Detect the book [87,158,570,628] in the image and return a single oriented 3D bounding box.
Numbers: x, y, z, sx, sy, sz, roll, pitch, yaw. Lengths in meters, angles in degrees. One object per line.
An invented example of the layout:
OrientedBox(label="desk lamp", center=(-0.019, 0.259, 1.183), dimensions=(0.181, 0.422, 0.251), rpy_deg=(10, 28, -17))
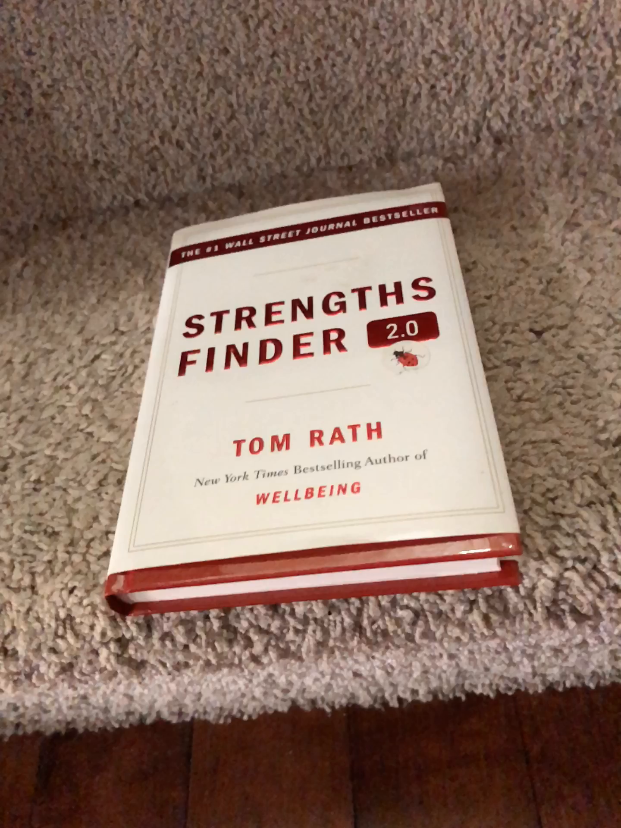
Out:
OrientedBox(label="book", center=(0.004, -0.021, 0.265), dimensions=(0.136, 0.029, 0.190), rpy_deg=(-7, 50, 8))
